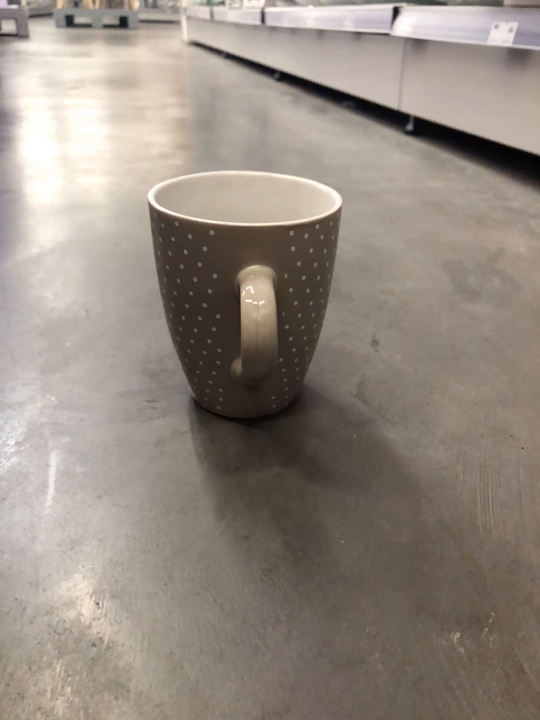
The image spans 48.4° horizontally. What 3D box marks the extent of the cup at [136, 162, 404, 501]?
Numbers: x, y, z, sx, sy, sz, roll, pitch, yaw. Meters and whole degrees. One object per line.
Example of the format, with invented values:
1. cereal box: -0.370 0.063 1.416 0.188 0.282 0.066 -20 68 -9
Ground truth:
1. cup: -0.010 -0.025 0.289 0.091 0.107 0.142 -3 30 -8
